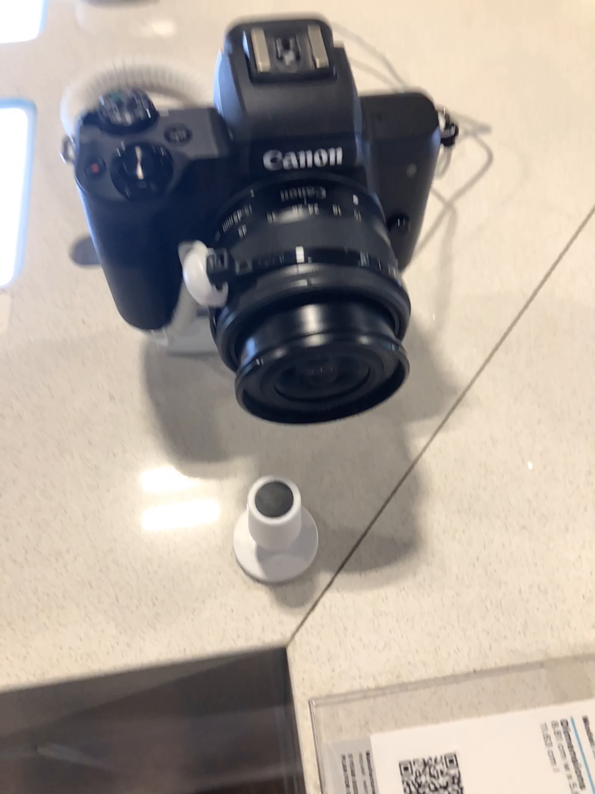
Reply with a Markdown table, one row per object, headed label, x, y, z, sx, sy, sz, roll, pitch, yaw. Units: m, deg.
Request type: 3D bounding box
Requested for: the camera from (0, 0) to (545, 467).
| label | x | y | z | sx | sy | sz | roll | pitch | yaw |
| --- | --- | --- | --- | --- | --- | --- | --- | --- | --- |
| camera | -0.014 | -0.057 | 0.220 | 0.130 | 0.080 | 0.120 | -7 | 58 | -5 |
